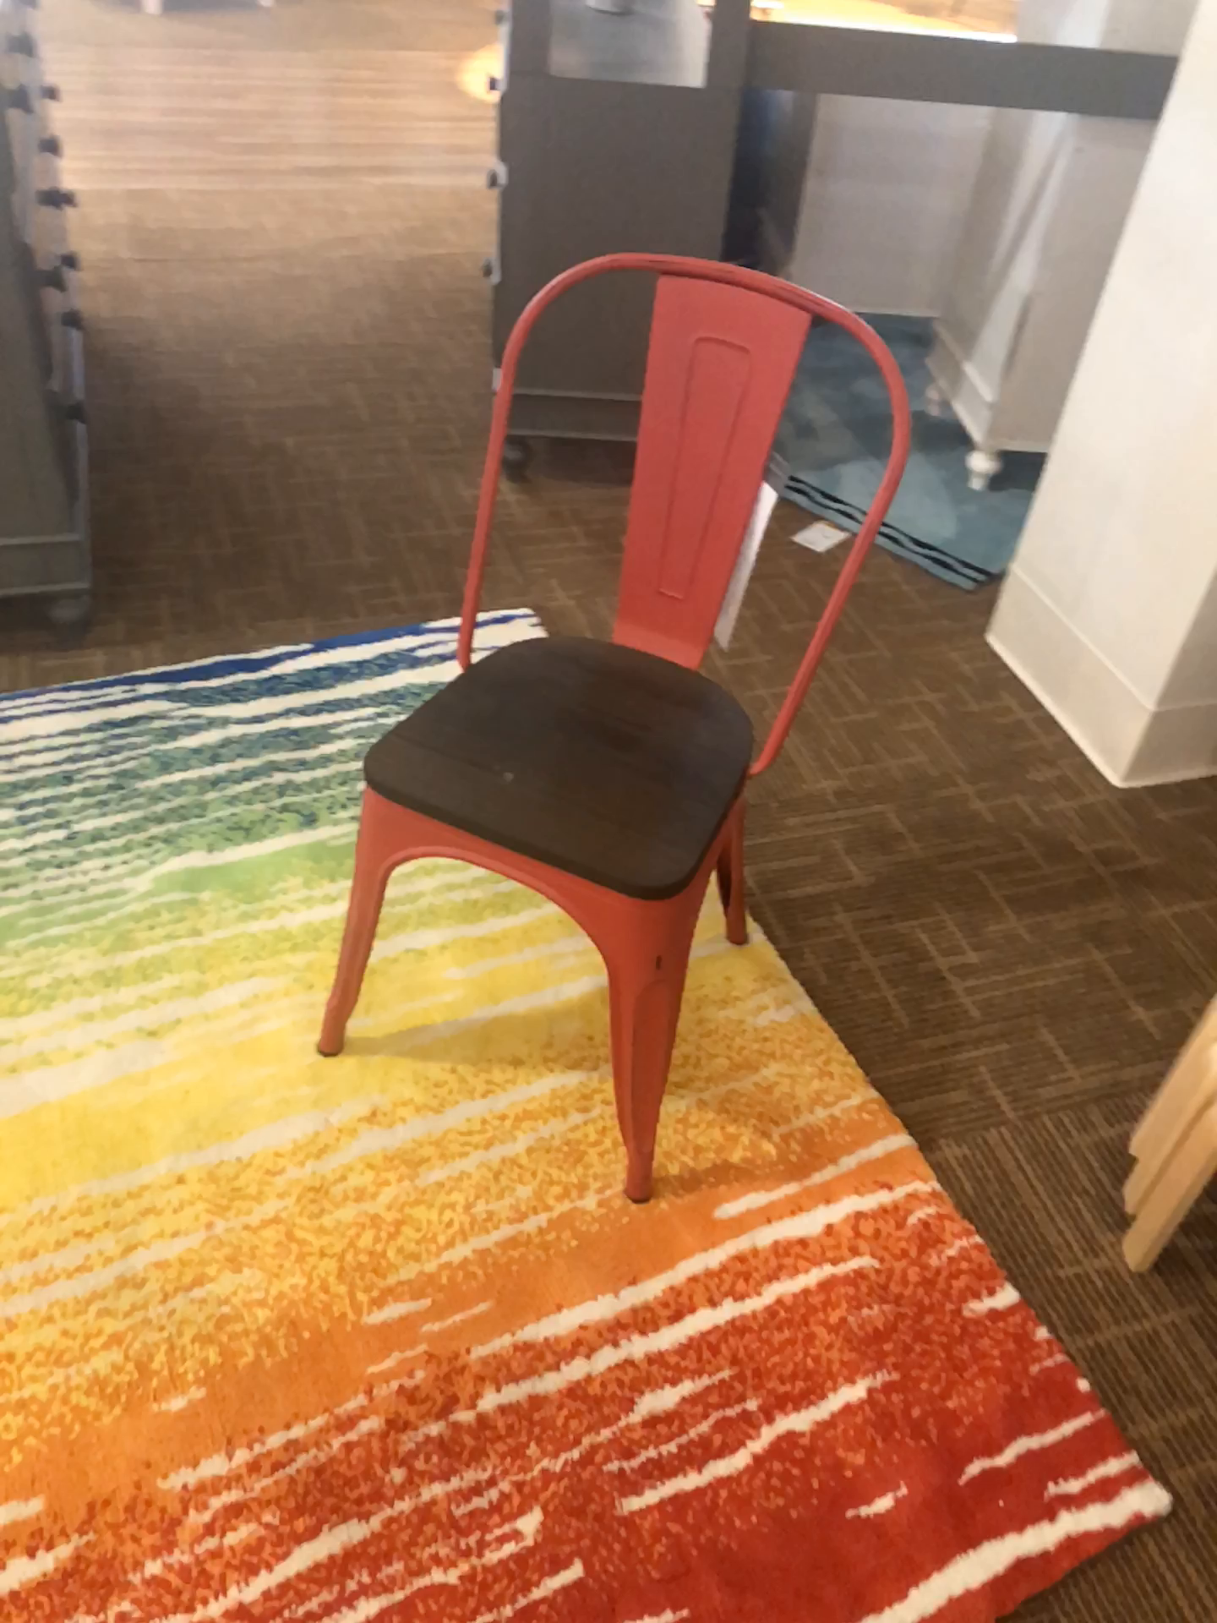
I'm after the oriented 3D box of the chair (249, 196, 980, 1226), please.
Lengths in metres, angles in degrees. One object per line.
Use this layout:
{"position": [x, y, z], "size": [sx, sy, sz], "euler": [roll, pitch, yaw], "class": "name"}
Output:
{"position": [-0.006, -0.093, 1.399], "size": [0.450, 0.855, 0.492], "euler": [22, 42, 17], "class": "chair"}
